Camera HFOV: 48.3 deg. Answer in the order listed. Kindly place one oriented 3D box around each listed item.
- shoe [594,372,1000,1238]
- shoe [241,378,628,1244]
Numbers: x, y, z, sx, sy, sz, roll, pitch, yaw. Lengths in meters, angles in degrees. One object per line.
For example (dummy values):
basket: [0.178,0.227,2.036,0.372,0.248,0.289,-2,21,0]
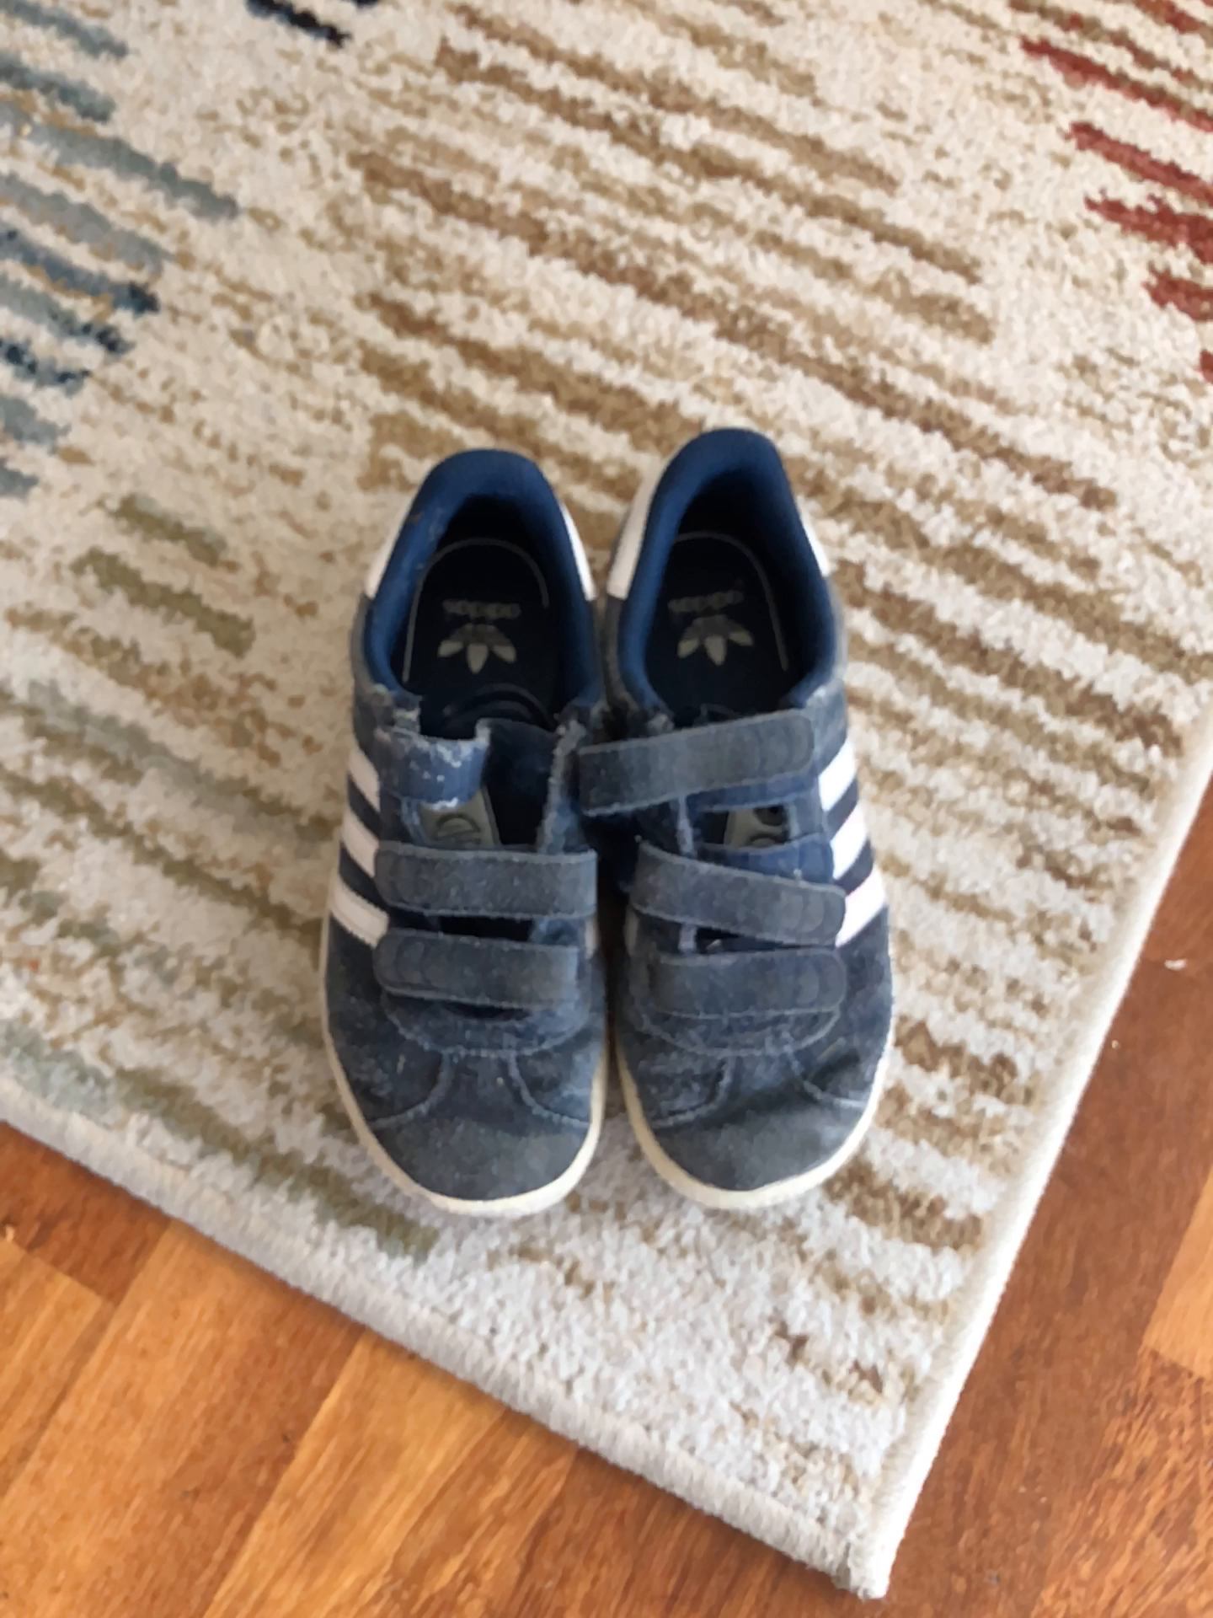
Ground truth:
shoe: [0.042,-0.004,0.355,0.086,0.052,0.219,-1,74,-2]
shoe: [-0.038,-0.002,0.353,0.084,0.053,0.217,1,74,-1]
